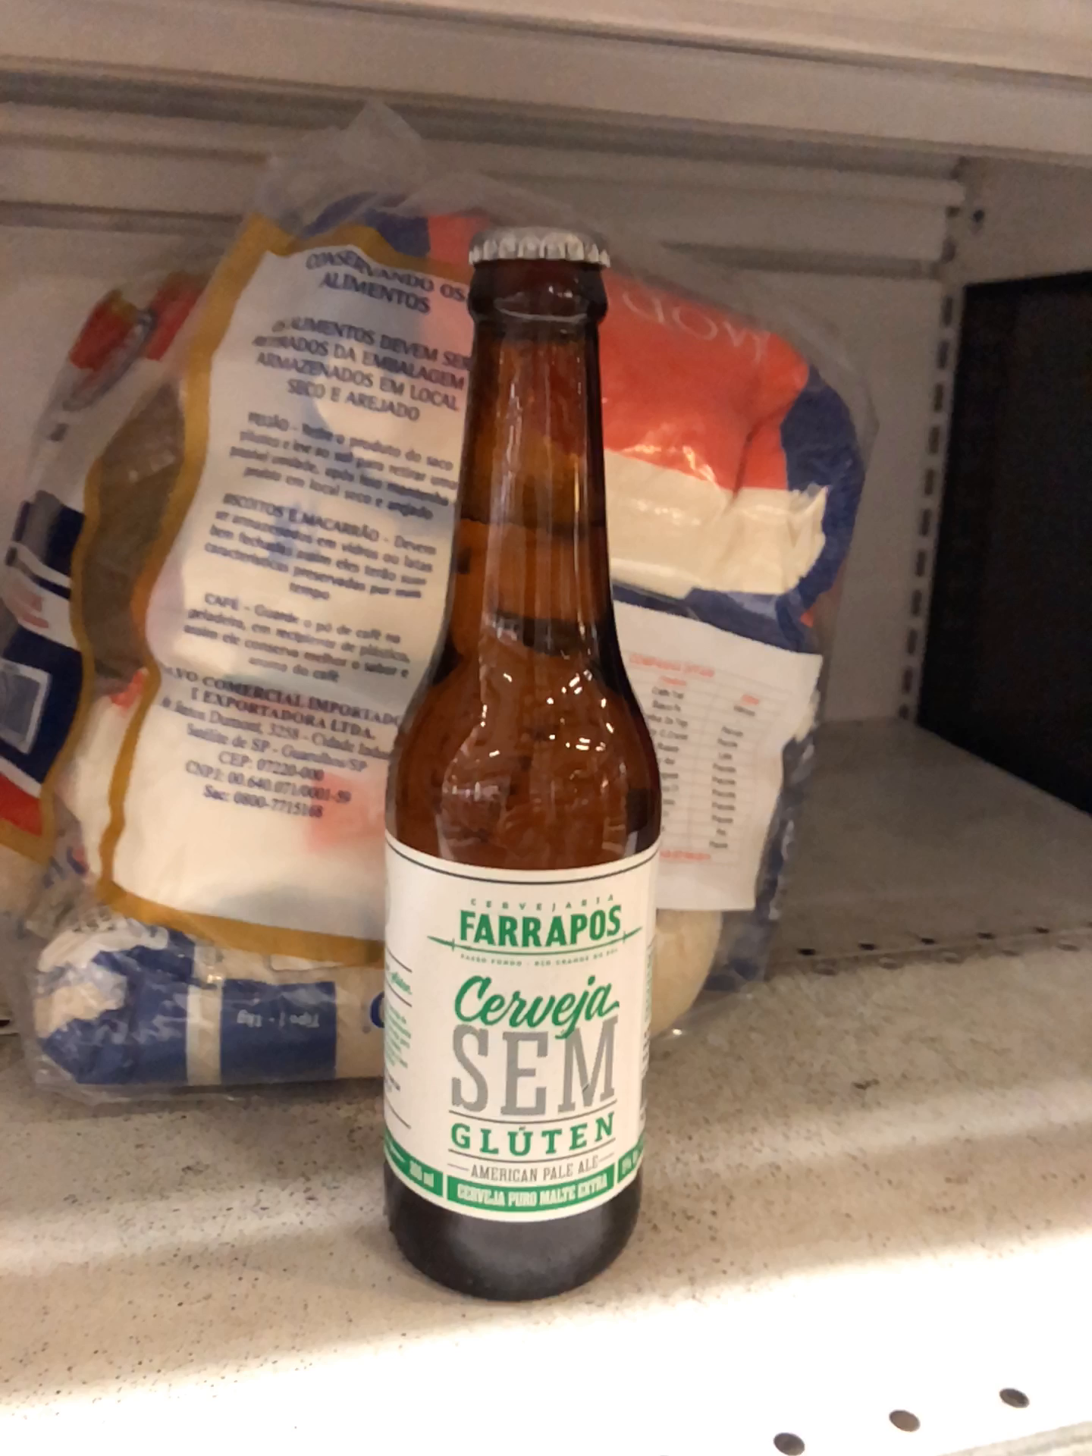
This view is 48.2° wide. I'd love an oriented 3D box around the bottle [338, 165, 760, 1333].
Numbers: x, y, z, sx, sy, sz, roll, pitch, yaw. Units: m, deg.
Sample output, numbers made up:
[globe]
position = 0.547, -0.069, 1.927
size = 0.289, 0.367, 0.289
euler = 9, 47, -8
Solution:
[bottle]
position = -0.007, 0.009, 0.266
size = 0.070, 0.229, 0.060
euler = -1, 15, -13
